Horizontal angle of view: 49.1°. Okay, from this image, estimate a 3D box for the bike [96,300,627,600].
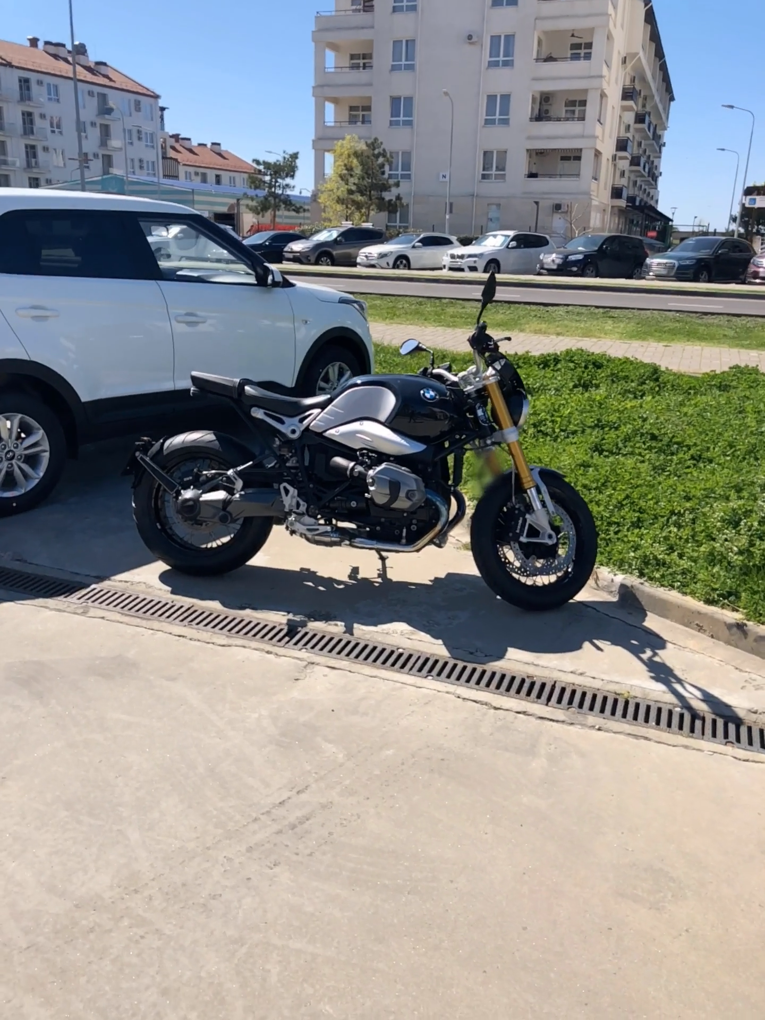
[{"bbox_3d":[-0.053,-0.294,3.389,1.832,1.013,0.779,2,17,4],"label":"bike"}]
